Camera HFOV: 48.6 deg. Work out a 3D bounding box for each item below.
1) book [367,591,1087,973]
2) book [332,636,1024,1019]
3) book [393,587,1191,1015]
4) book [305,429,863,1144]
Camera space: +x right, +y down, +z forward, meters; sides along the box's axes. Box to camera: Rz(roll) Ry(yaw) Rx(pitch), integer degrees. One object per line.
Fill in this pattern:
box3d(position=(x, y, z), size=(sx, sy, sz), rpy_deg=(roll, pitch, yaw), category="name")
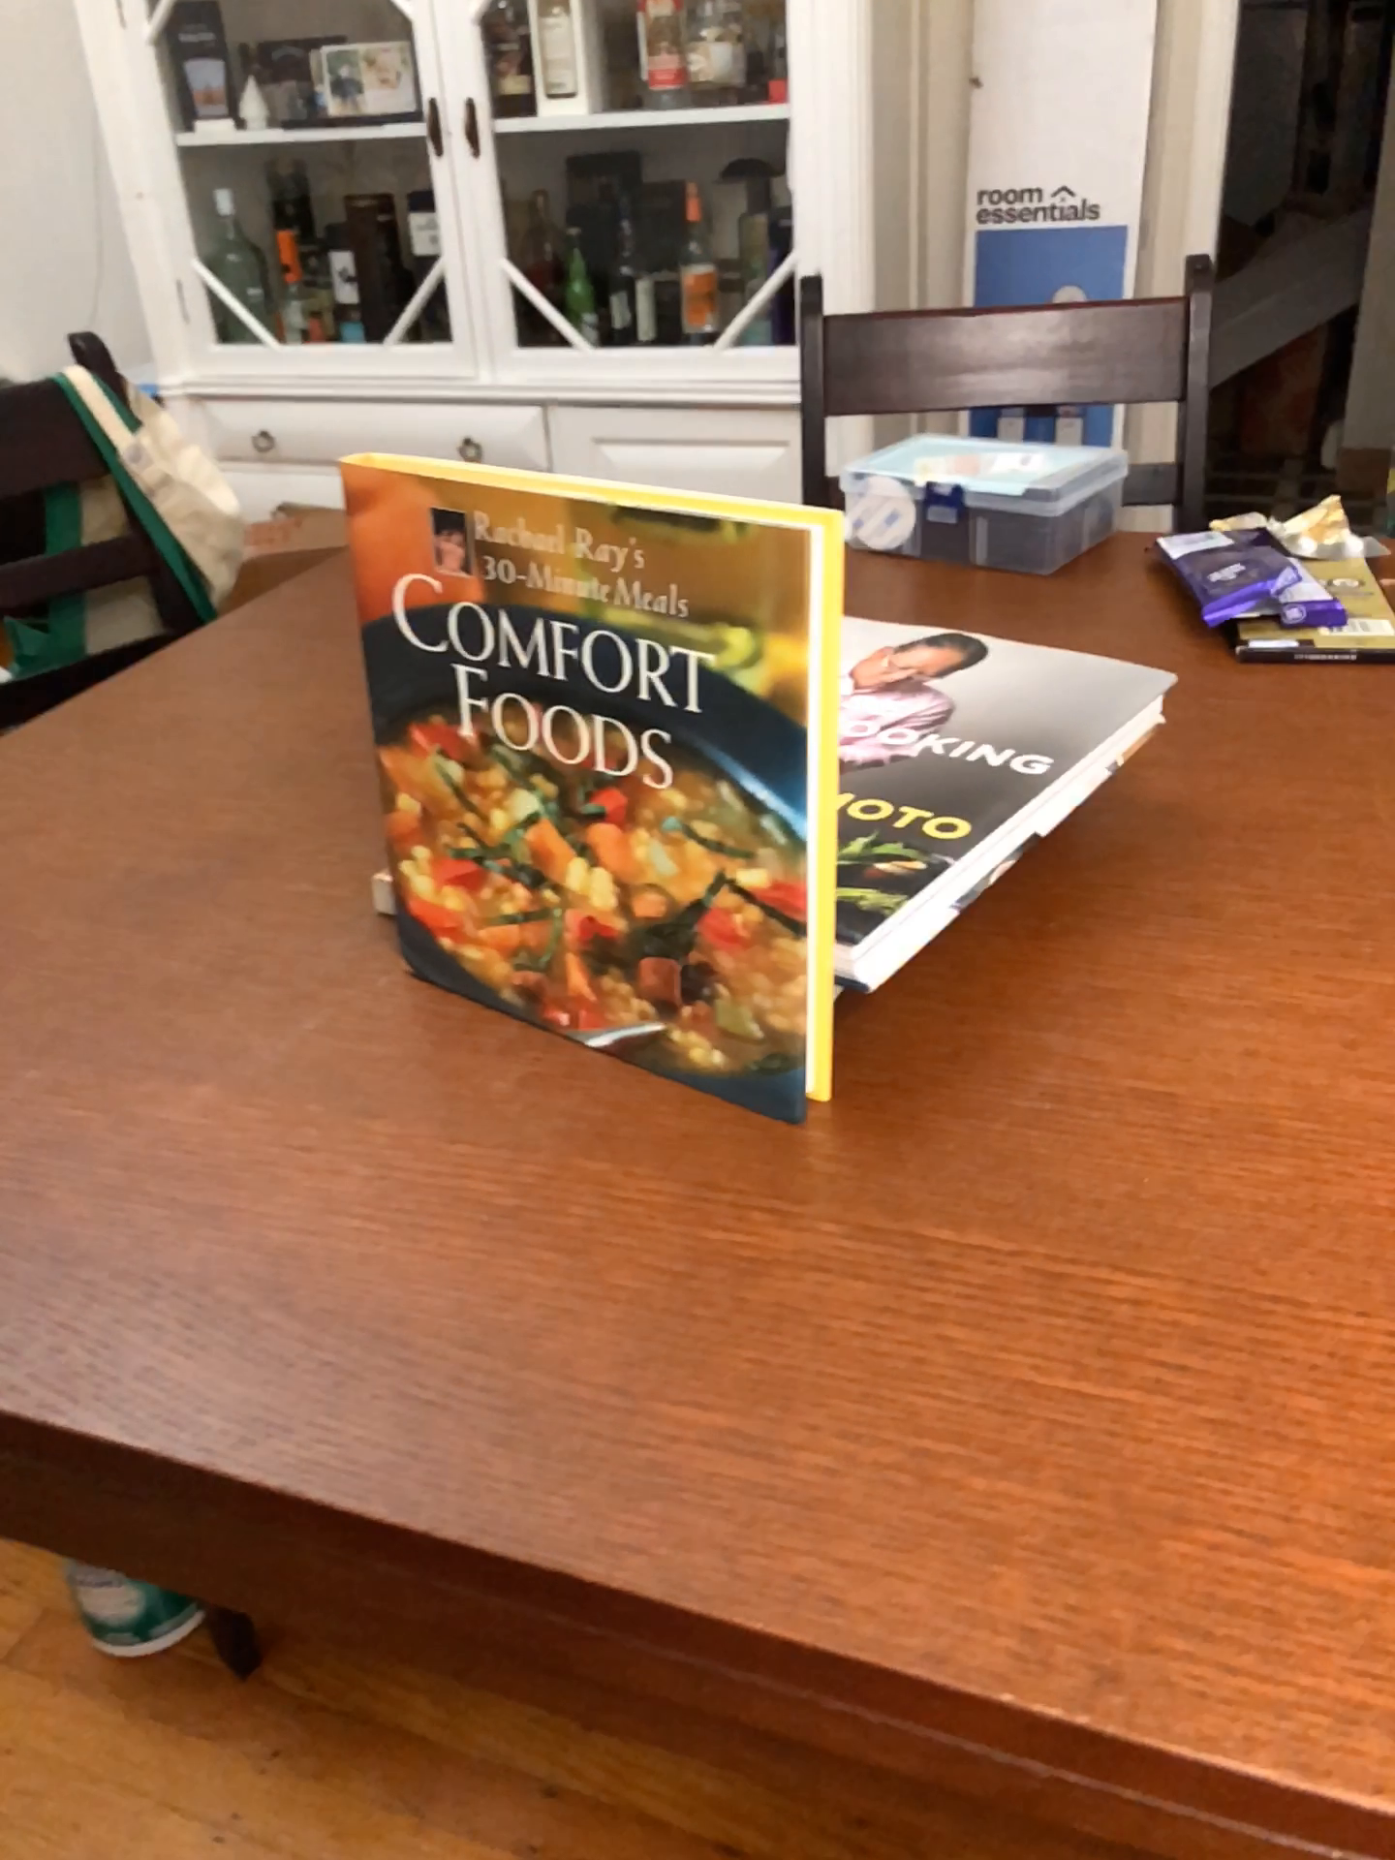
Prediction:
box3d(position=(0.026, -0.086, 0.710), size=(0.220, 0.030, 0.281), rpy_deg=(13, 35, 28), category="book")
box3d(position=(0.005, -0.067, 0.734), size=(0.220, 0.030, 0.281), rpy_deg=(12, 34, 26), category="book")
box3d(position=(0.051, -0.075, 0.656), size=(0.220, 0.030, 0.281), rpy_deg=(16, 37, 32), category="book")
box3d(position=(-0.042, -0.055, 0.541), size=(0.210, 0.209, 0.030), rpy_deg=(19, 35, 33), category="book")
